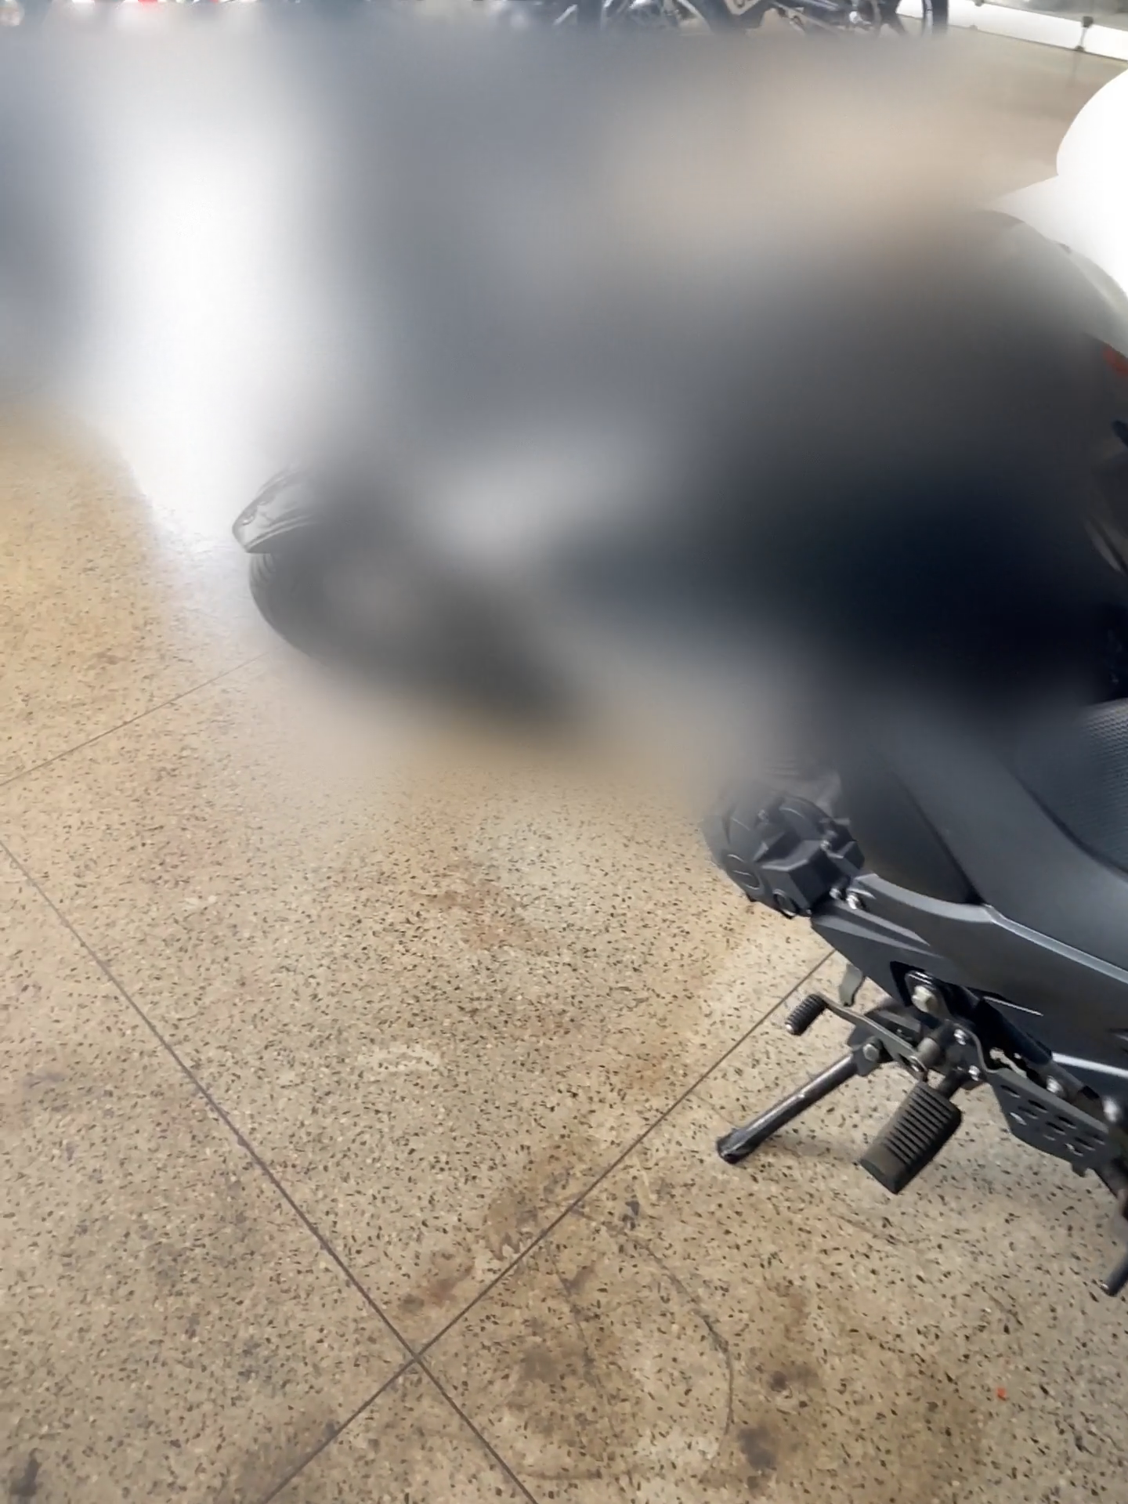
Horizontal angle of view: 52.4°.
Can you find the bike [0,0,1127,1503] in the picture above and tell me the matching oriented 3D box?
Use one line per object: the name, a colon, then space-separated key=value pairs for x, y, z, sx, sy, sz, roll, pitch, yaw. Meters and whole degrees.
bike: x=0.272 y=0.115 z=0.880 sx=2.006 sy=1.331 sz=0.818 roll=29 pitch=51 yaw=29
